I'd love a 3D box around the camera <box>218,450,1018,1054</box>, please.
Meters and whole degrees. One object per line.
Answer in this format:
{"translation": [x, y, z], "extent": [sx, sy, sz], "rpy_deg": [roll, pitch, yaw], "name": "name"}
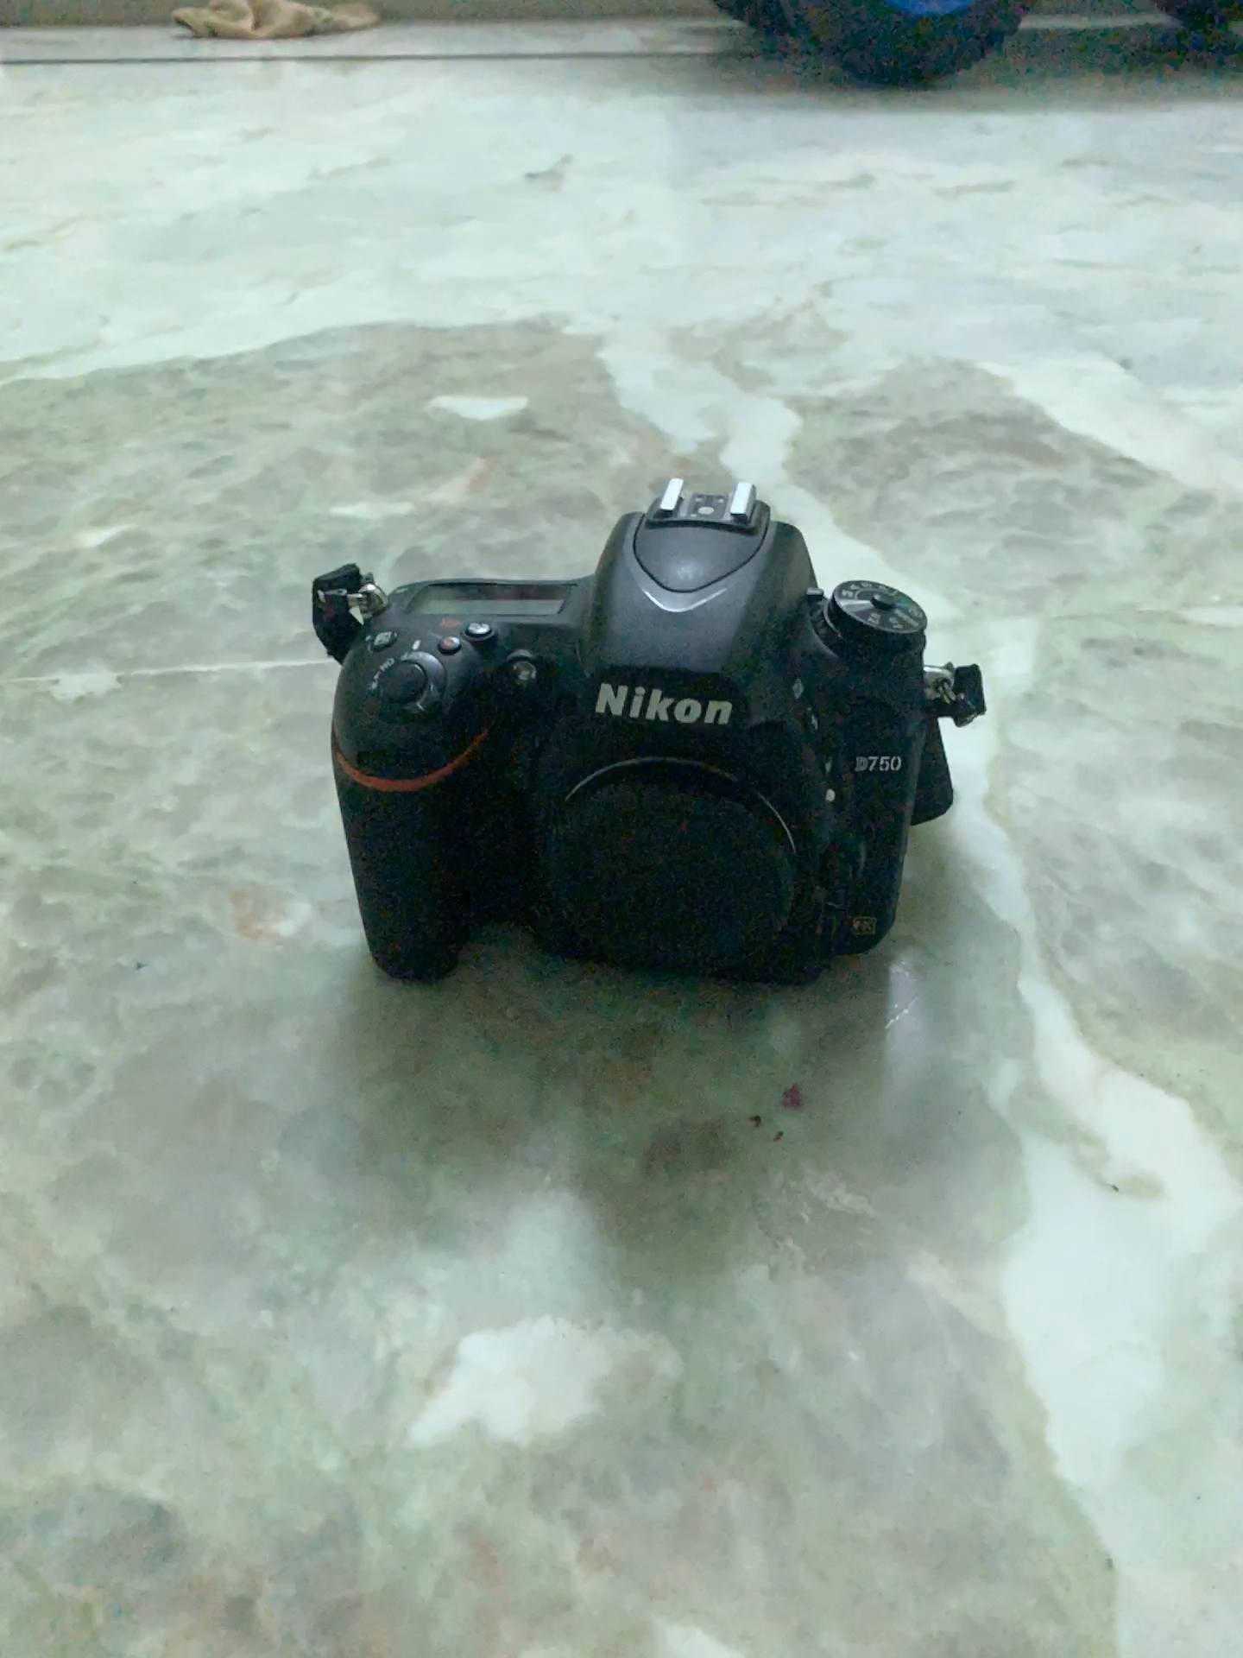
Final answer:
{"translation": [0.003, -0.021, 0.298], "extent": [0.150, 0.100, 0.080], "rpy_deg": [6, 37, 8], "name": "camera"}
